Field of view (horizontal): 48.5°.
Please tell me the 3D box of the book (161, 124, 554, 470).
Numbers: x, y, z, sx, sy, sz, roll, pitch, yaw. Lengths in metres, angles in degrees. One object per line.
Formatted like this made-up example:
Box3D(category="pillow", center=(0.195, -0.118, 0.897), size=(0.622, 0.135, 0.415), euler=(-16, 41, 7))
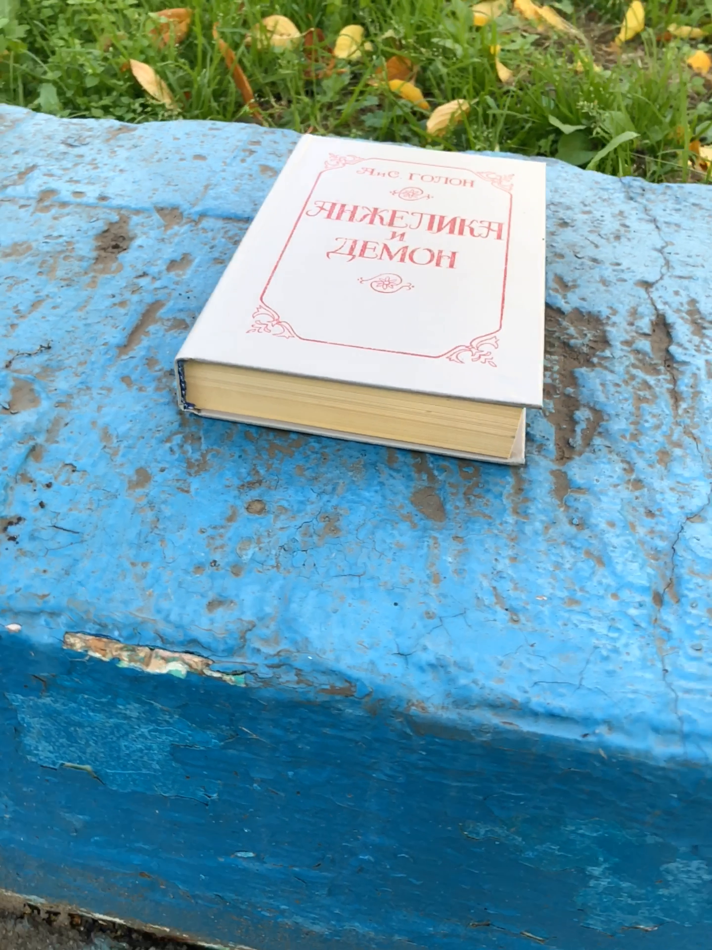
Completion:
Box3D(category="book", center=(0.017, -0.097, 0.364), size=(0.140, 0.032, 0.212), euler=(9, 45, 6))
